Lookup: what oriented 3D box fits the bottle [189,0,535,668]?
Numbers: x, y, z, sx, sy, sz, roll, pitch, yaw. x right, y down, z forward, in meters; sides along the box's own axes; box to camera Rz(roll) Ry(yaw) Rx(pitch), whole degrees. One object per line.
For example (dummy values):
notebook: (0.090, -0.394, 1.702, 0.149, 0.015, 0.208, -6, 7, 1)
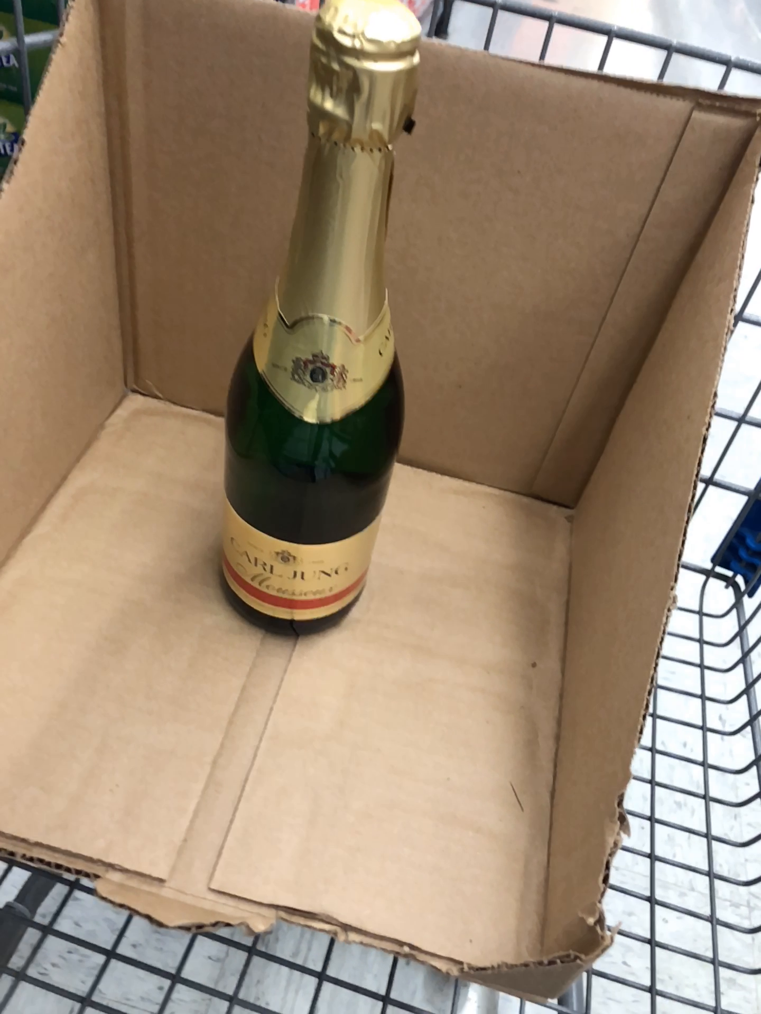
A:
bottle: (-0.022, -0.060, 0.358, 0.090, 0.288, 0.081, 14, 42, 1)
